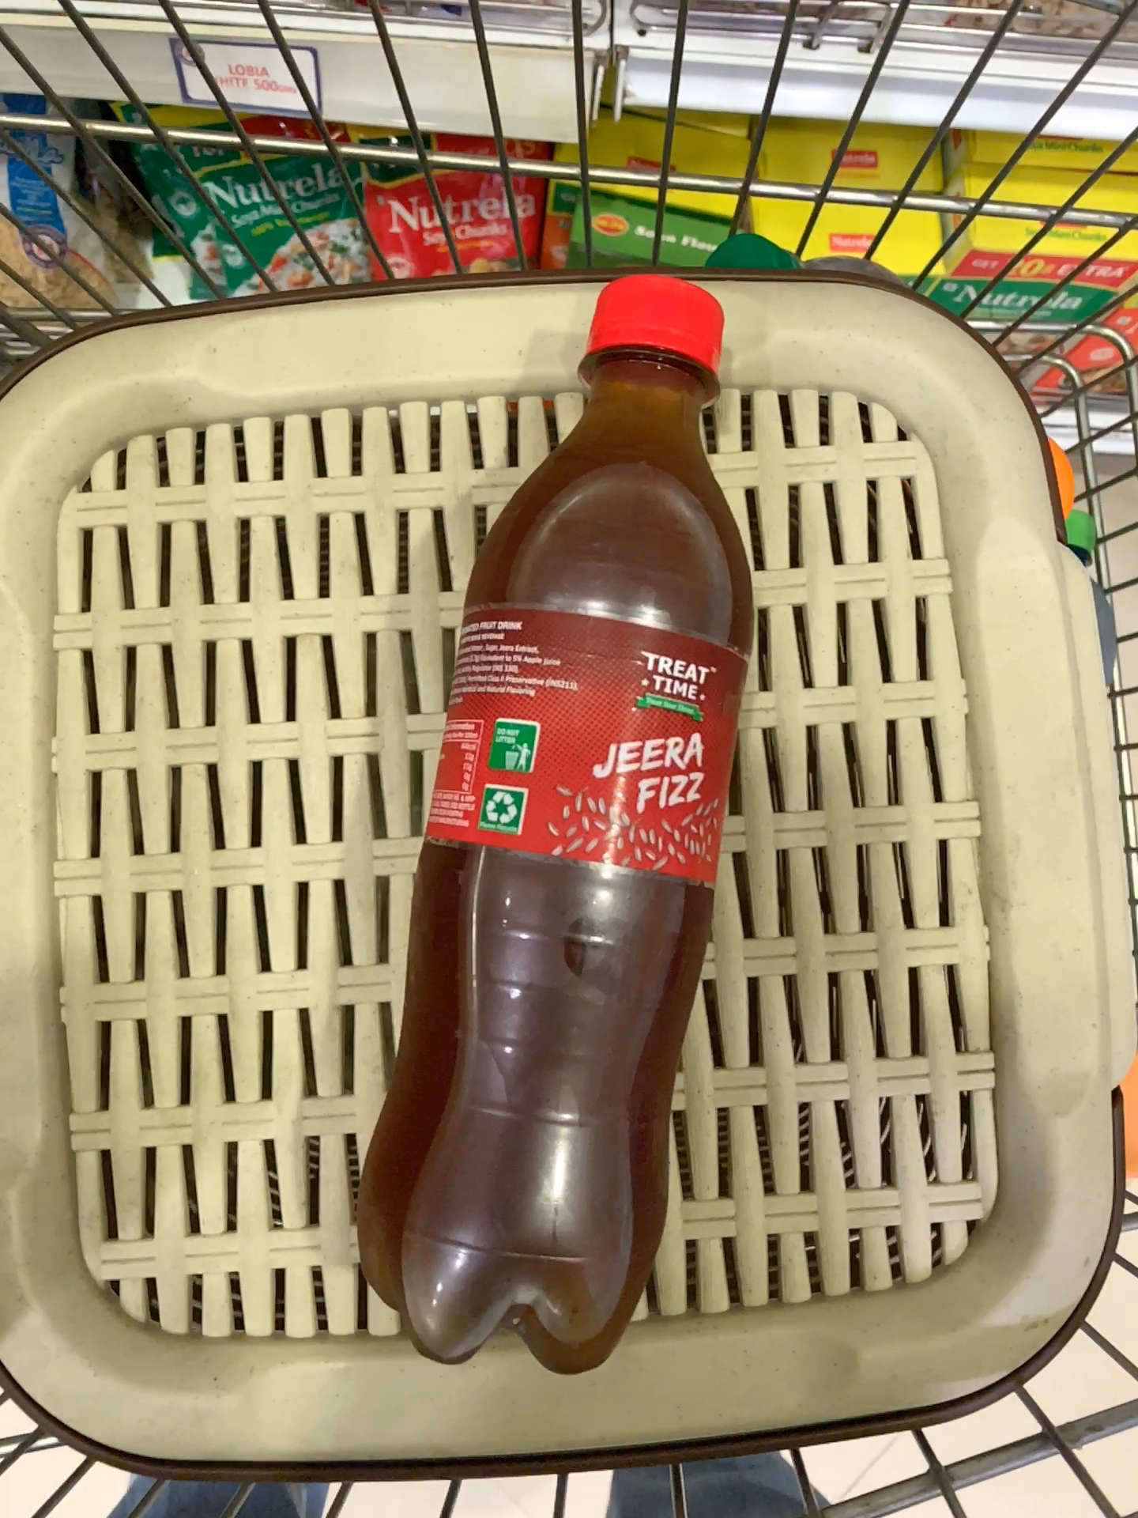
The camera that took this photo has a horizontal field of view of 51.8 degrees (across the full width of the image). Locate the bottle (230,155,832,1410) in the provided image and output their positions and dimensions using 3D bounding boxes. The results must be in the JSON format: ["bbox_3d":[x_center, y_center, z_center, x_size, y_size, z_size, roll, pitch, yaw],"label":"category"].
[{"bbox_3d":[-0.009,0.006,0.261,0.080,0.070,0.230,11,83,-26],"label":"bottle"}]
